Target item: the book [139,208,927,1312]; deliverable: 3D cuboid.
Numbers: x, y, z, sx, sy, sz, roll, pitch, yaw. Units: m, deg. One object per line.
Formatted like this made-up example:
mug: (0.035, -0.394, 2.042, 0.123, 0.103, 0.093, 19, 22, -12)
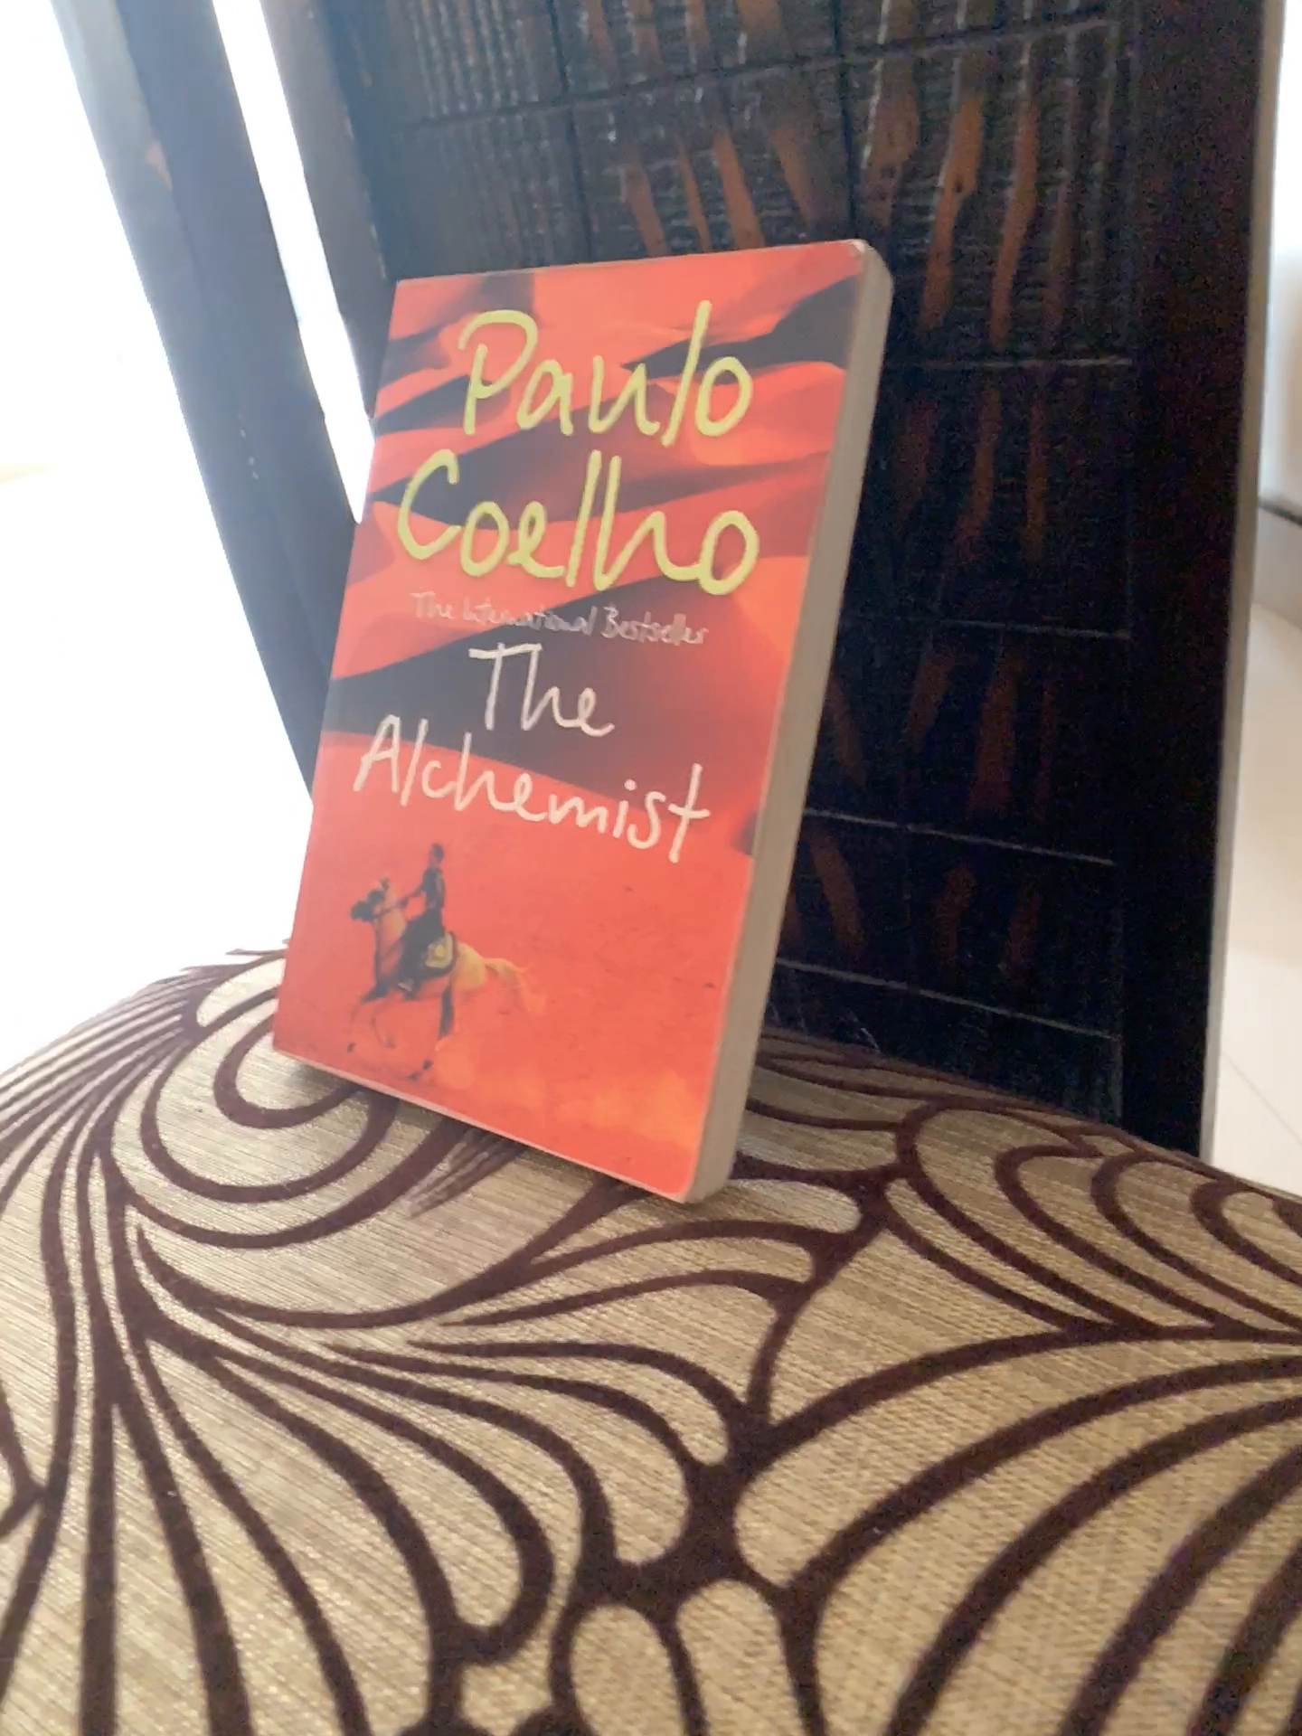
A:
book: (-0.029, -0.029, 0.285, 0.140, 0.200, 0.030, 8, -4, 29)
